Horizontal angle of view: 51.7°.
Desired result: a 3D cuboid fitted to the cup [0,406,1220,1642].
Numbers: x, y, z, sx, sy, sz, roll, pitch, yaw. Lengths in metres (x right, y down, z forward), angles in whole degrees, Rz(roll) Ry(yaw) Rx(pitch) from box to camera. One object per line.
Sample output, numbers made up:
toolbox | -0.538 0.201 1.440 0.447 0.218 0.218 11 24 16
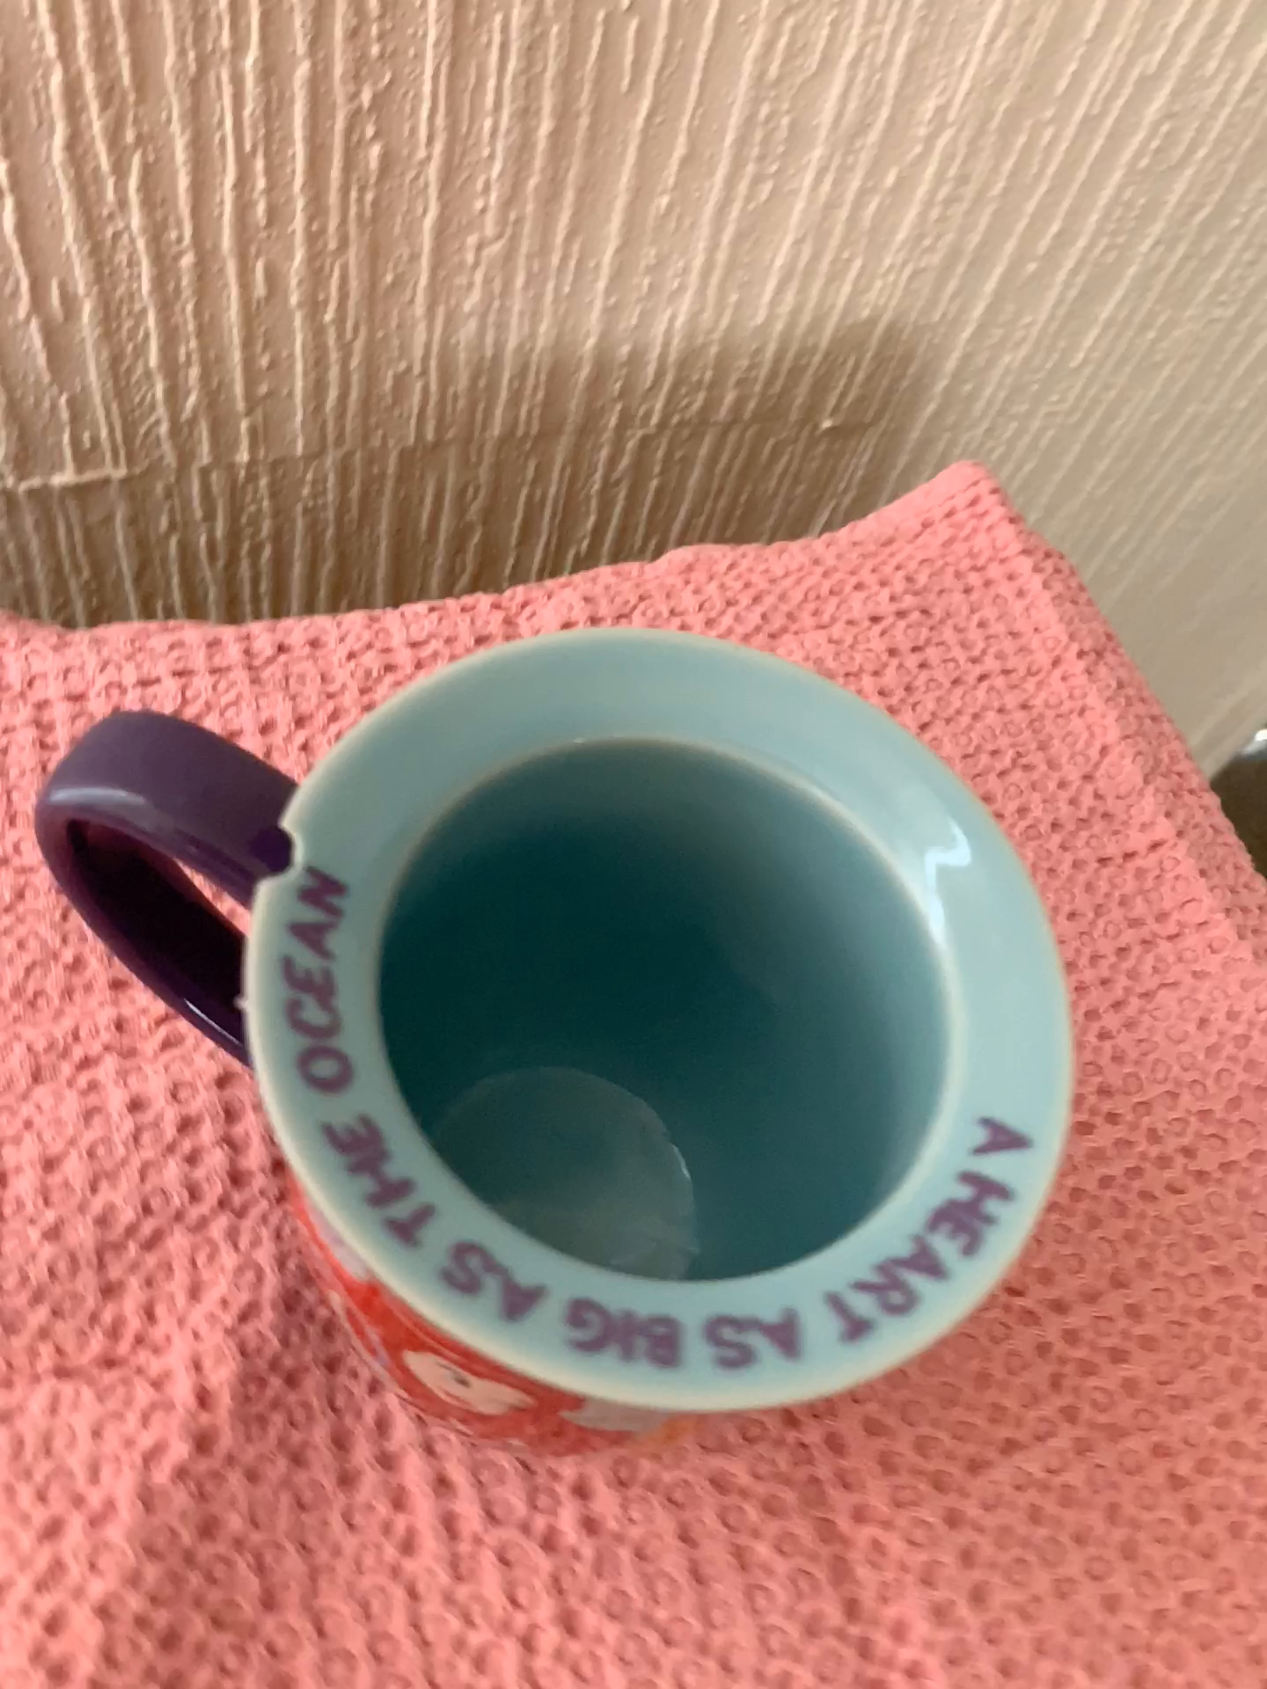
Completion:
cup | -0.013 0.031 0.194 0.140 0.099 0.101 26 57 3
